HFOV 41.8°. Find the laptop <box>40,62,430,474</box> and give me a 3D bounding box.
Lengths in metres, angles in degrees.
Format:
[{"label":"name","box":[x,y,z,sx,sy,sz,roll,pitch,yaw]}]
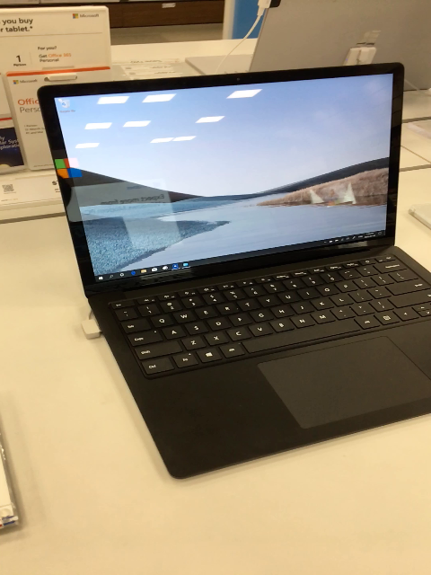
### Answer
[{"label":"laptop","box":[0.075,-0.043,0.470,0.336,0.187,0.282,-13,44,-18]}]
